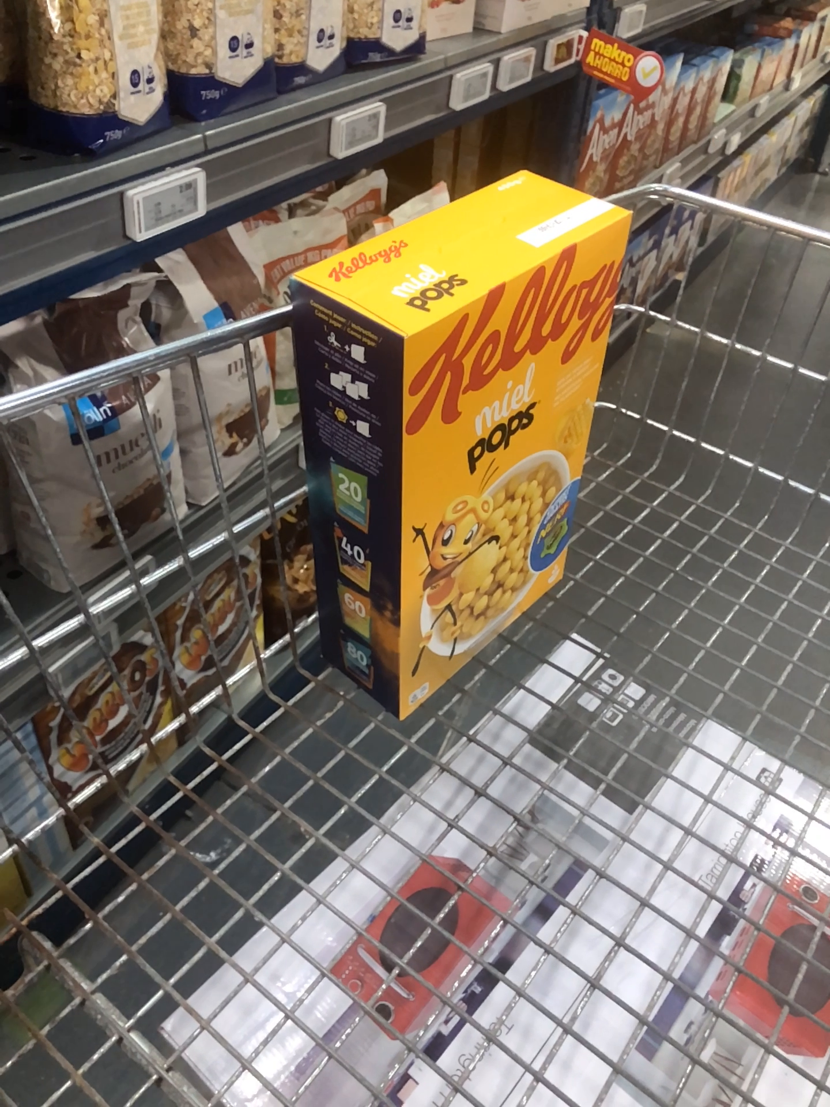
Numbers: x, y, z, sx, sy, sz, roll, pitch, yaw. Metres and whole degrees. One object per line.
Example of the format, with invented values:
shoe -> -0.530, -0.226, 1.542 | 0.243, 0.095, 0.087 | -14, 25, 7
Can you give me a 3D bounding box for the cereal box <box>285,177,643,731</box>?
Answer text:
cereal box -> 0.032, -0.060, 0.584 | 0.090, 0.279, 0.201 | 28, 48, 28
